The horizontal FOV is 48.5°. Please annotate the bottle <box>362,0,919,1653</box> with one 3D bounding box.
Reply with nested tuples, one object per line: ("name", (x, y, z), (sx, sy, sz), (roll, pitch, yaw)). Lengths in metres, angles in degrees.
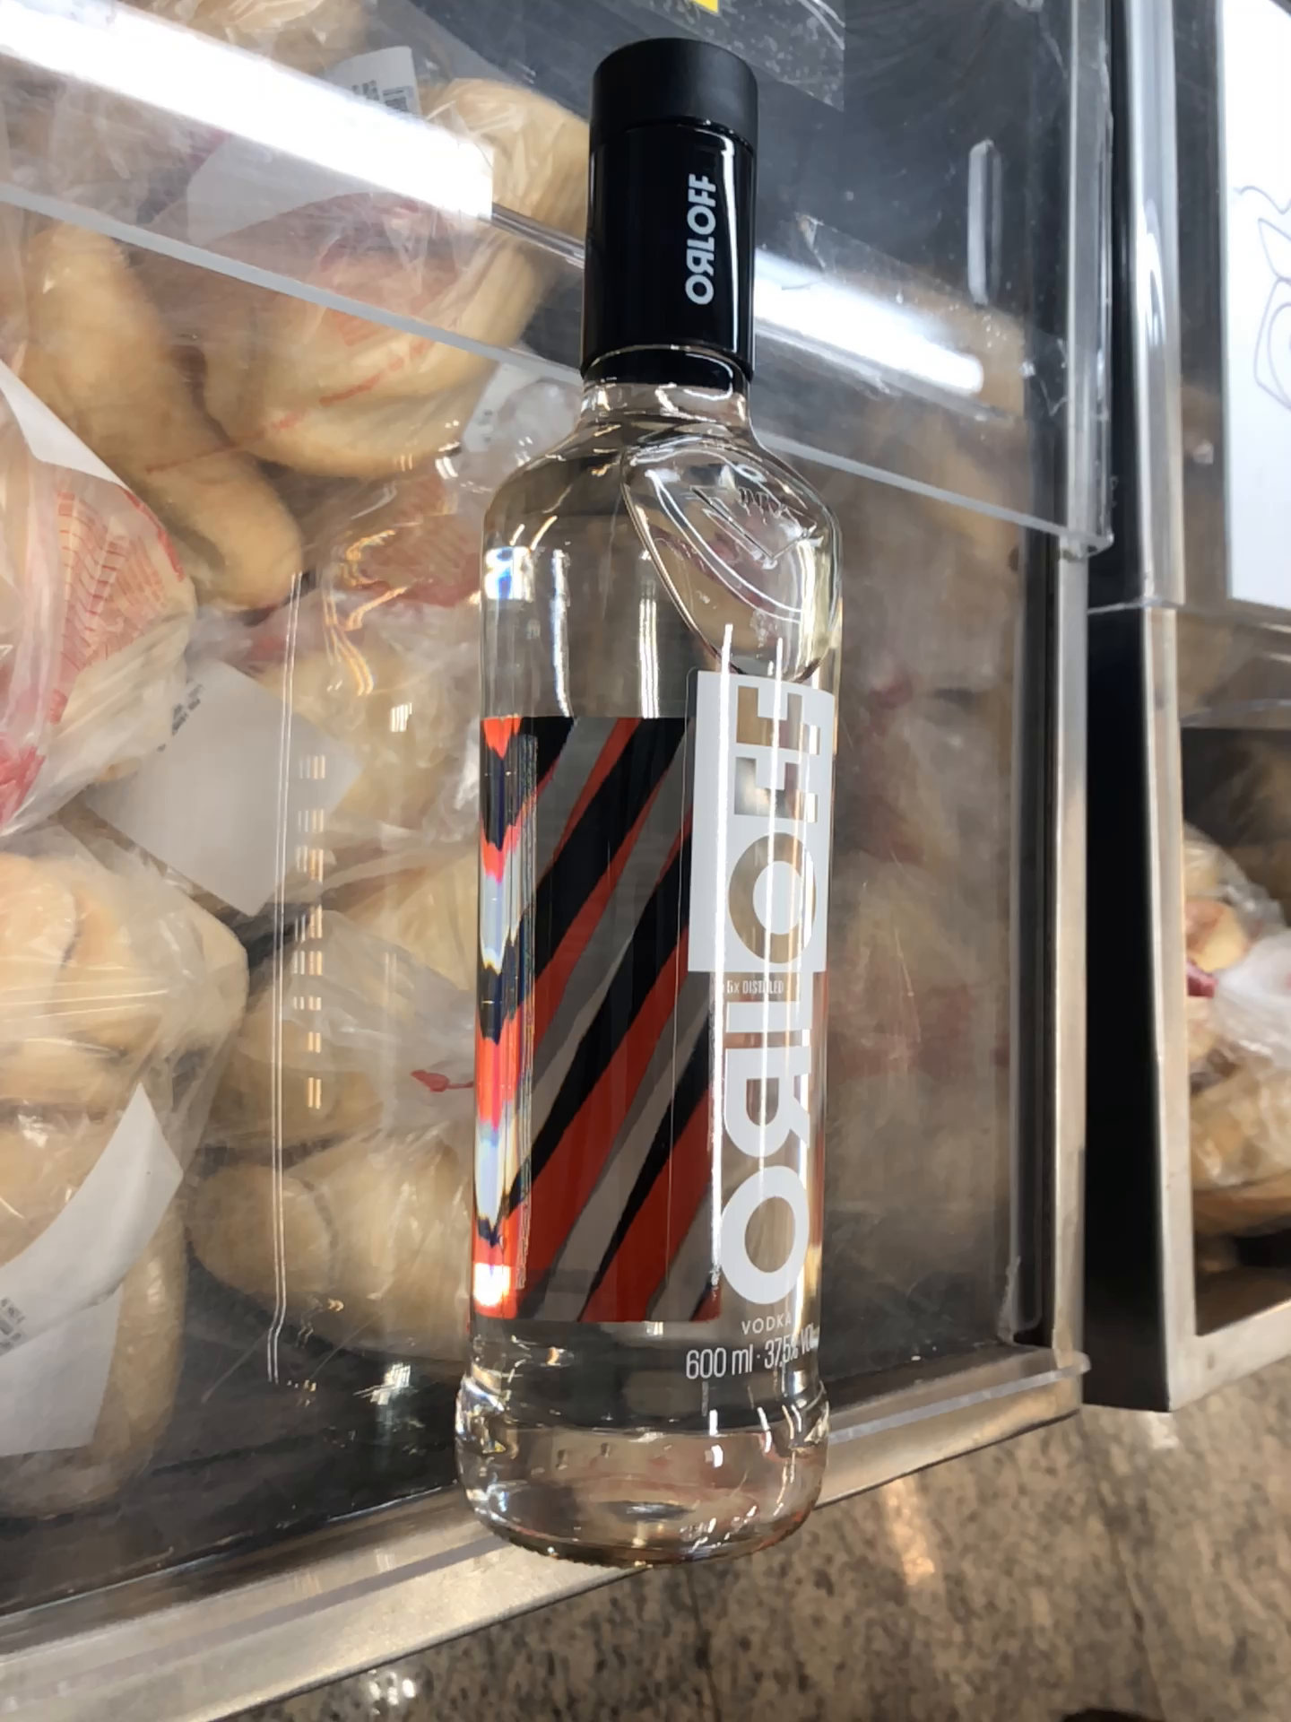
("bottle", (-0.001, -0.023, 0.282), (0.070, 0.070, 0.300), (4, 87, -39))
